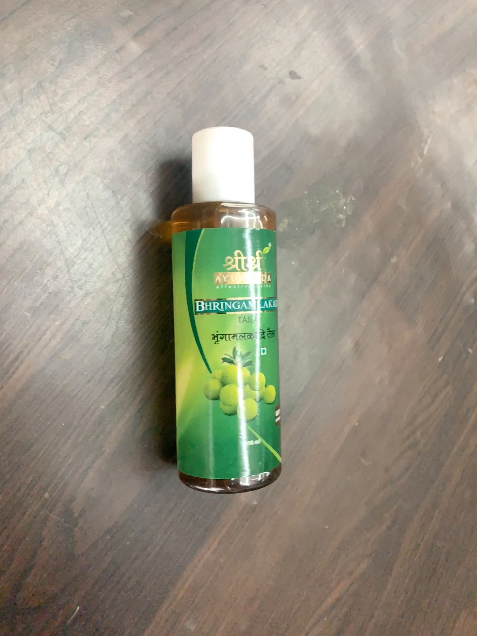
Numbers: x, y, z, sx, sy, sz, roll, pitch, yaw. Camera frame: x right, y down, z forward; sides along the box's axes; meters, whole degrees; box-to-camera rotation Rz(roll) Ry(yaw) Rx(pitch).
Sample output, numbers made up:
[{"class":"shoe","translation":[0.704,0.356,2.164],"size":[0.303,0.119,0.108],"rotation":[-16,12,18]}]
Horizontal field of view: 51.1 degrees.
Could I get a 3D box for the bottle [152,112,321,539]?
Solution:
[{"class":"bottle","translation":[-0.002,0.002,0.167],"size":[0.040,0.040,0.120],"rotation":[-2,91,-28]}]
